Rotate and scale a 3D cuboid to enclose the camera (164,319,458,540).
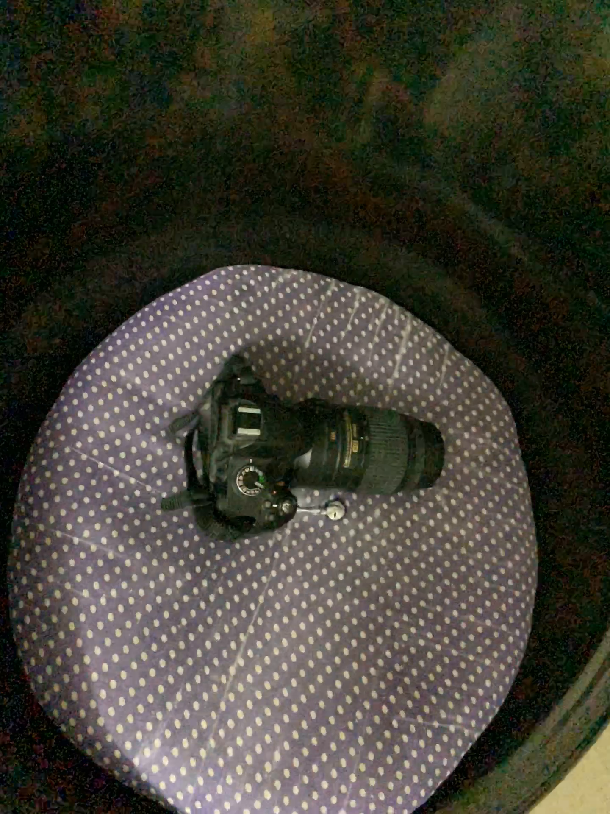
[{"bbox_3d":[-0.001,0.027,0.491,0.200,0.100,0.140,4,71,-19],"label":"camera"}]
